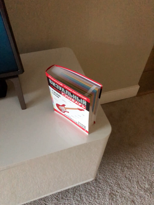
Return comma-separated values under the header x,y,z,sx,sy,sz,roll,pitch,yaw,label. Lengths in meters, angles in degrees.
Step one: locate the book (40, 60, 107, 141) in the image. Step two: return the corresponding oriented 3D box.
x,y,z,sx,sy,sz,roll,pitch,yaw,label
-0.014,0.000,0.463,0.150,0.179,0.060,30,55,22,book
